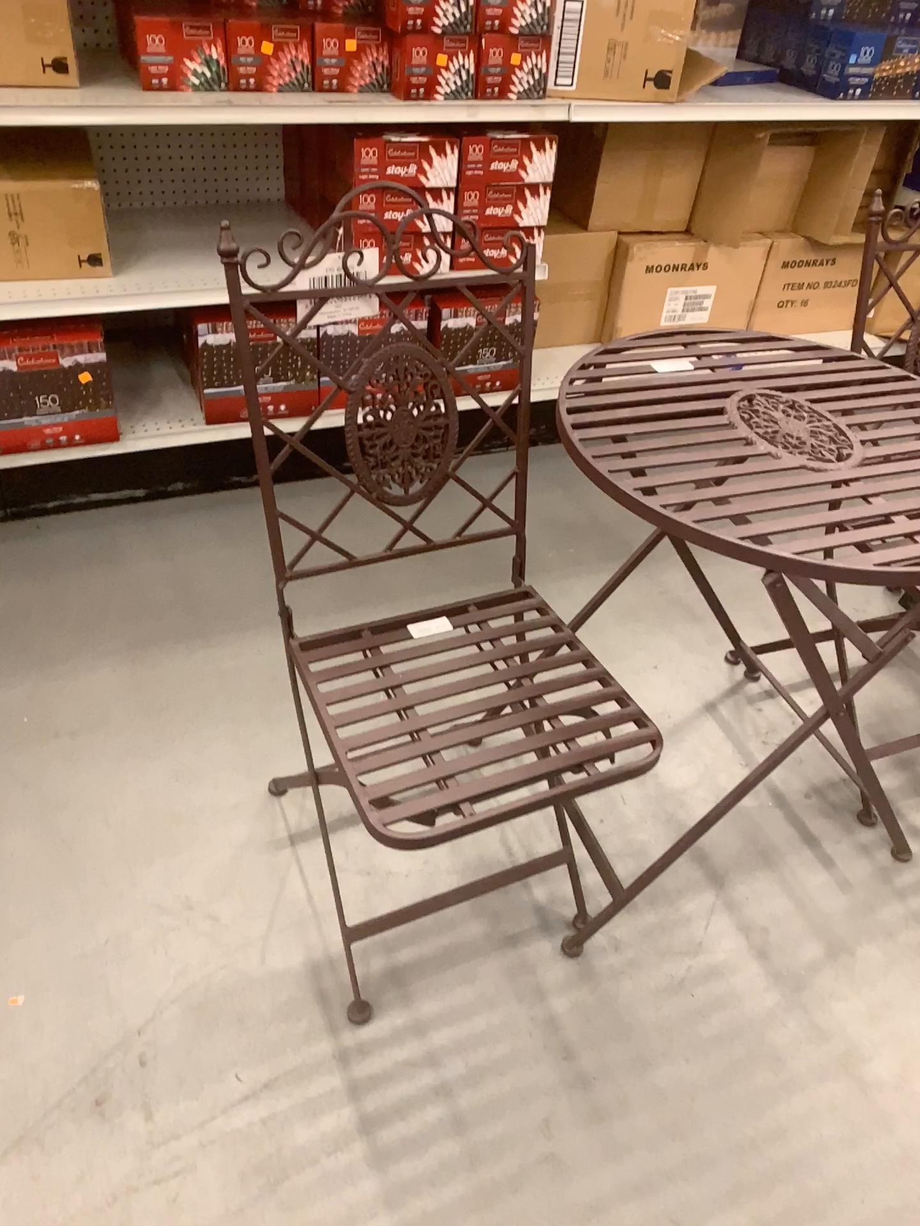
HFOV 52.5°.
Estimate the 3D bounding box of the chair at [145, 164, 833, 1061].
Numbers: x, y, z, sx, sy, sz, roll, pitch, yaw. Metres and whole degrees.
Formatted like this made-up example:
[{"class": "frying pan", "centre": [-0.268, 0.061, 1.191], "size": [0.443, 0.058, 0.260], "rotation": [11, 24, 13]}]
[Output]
[{"class": "chair", "centre": [-0.051, 0.000, 1.119], "size": [0.422, 0.839, 0.566], "rotation": [-13, 44, -22]}]
